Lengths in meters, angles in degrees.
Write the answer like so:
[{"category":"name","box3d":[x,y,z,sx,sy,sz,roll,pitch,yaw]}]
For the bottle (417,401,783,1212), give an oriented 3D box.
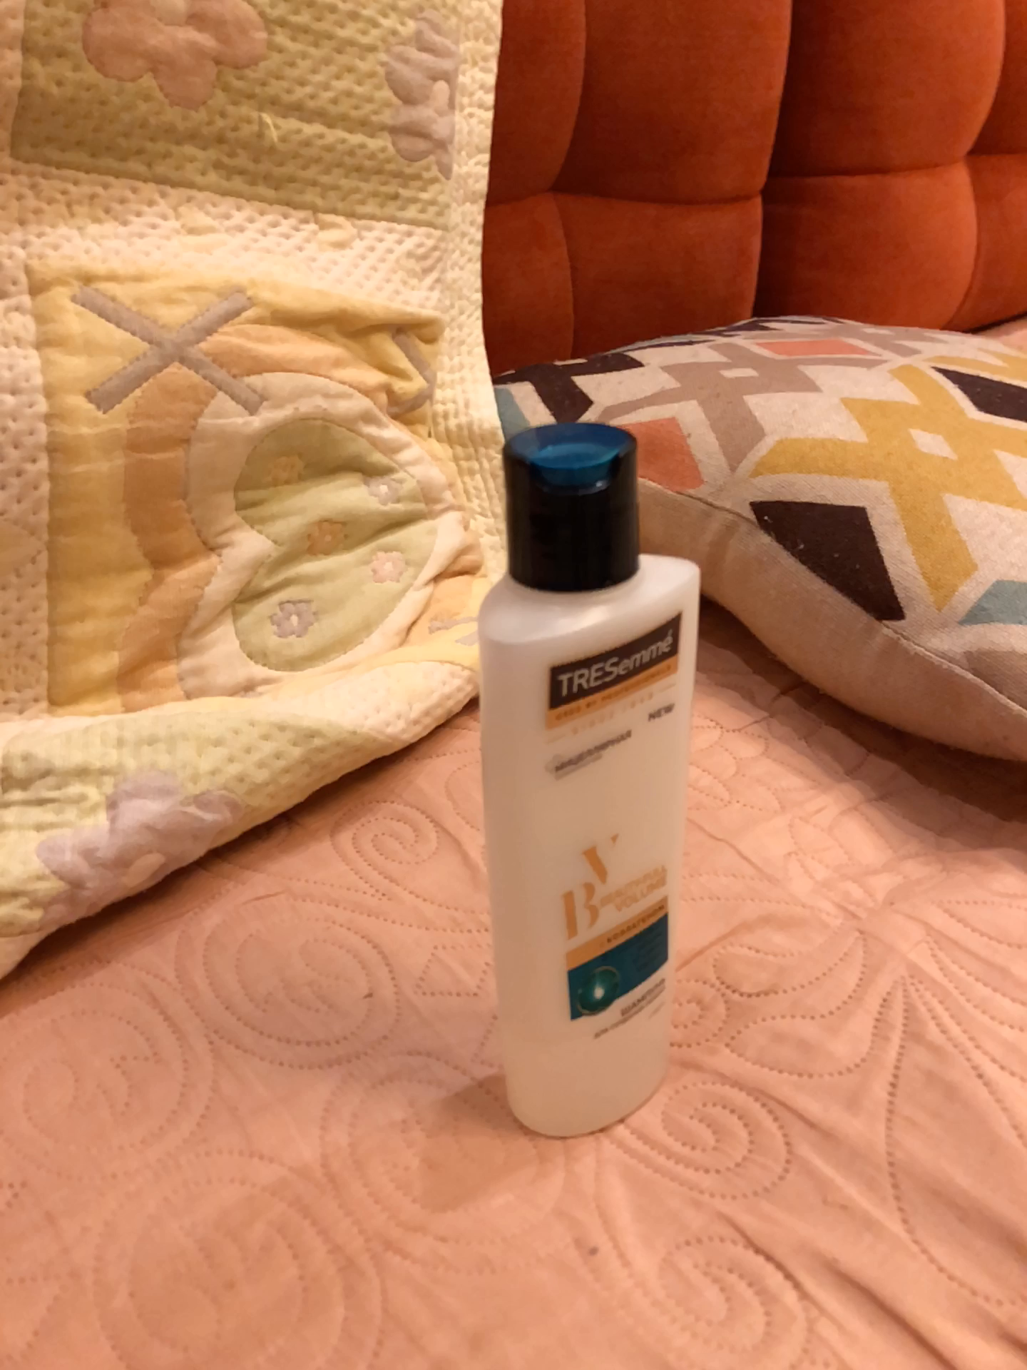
[{"category":"bottle","box3d":[0.020,0.036,0.290,0.070,0.199,0.040,-21,34,-33]}]
